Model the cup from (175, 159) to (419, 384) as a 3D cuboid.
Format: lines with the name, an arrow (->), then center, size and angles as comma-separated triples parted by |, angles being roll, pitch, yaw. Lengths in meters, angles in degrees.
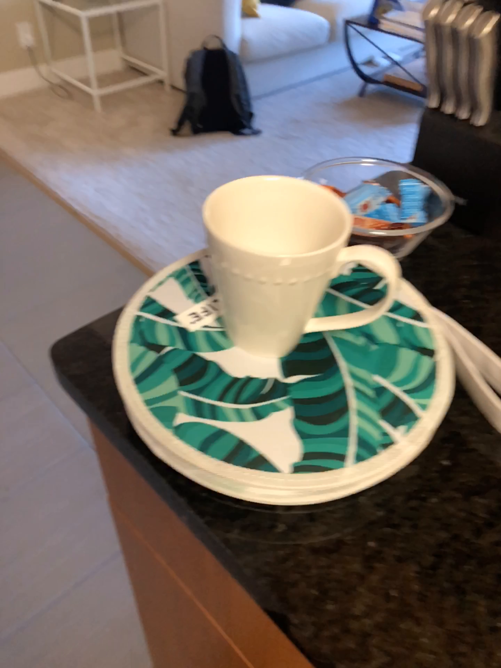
cup -> 0.031, -0.045, 0.370 | 0.130, 0.090, 0.090 | 13, 44, 12
